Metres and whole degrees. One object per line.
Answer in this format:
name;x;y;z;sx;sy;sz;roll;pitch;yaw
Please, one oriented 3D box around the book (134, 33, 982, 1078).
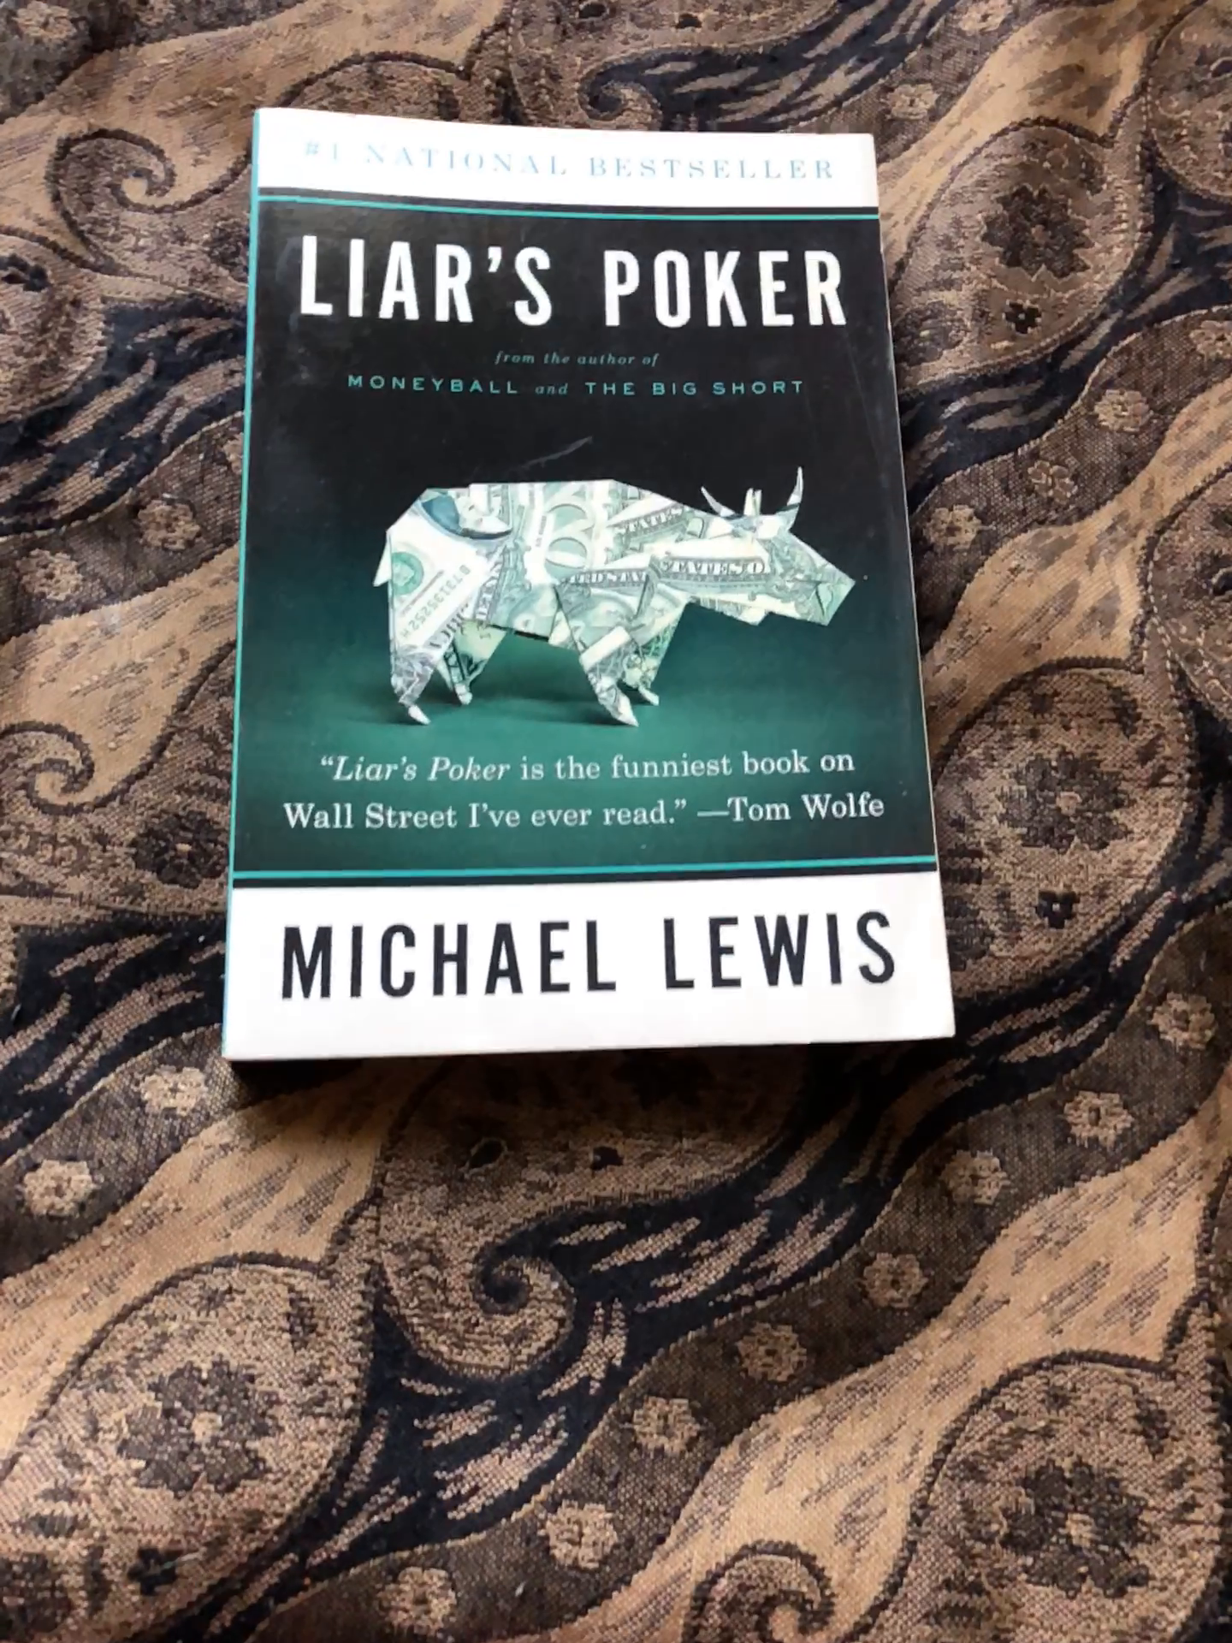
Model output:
book;-0.010;-0.055;0.285;0.150;0.040;0.210;1;78;-3
